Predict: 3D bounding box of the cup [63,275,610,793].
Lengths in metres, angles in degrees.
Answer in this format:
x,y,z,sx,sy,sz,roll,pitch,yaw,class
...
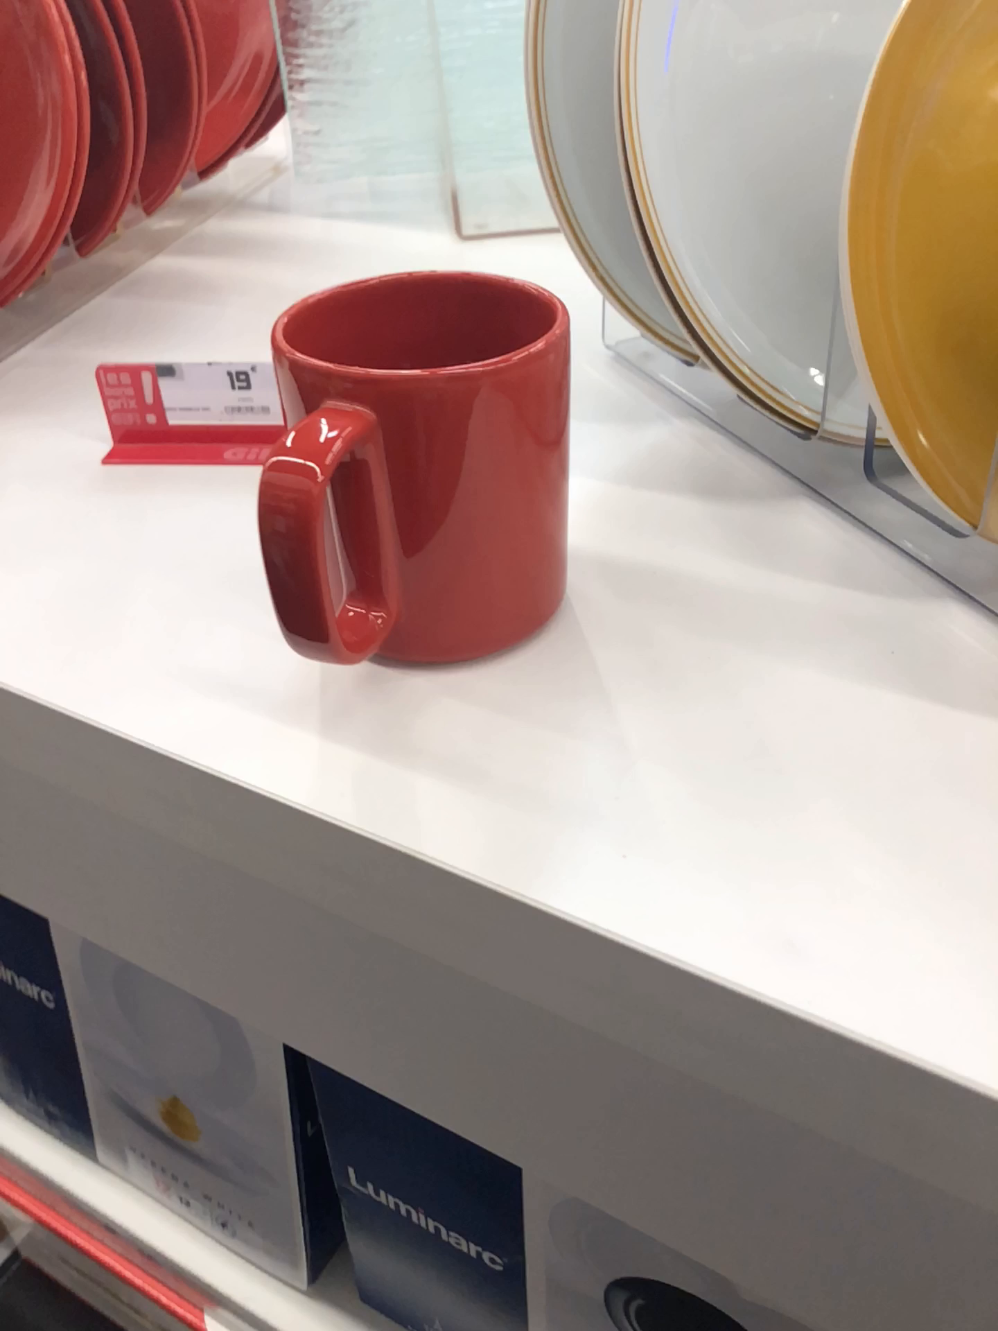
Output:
x,y,z,sx,sy,sz,roll,pitch,yaw,class
-0.033,-0.047,0.313,0.091,0.082,0.130,12,38,19,cup
